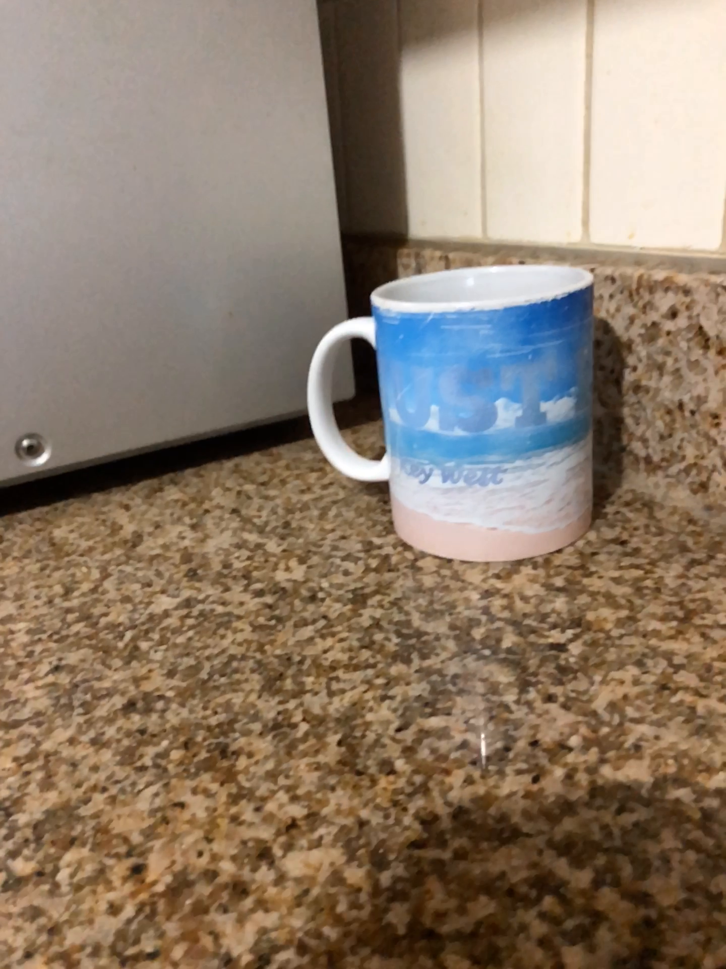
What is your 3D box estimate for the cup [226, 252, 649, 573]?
[{"bbox_3d":[0.033,-0.036,0.314,0.130,0.090,0.090,7,24,28],"label":"cup"}]
